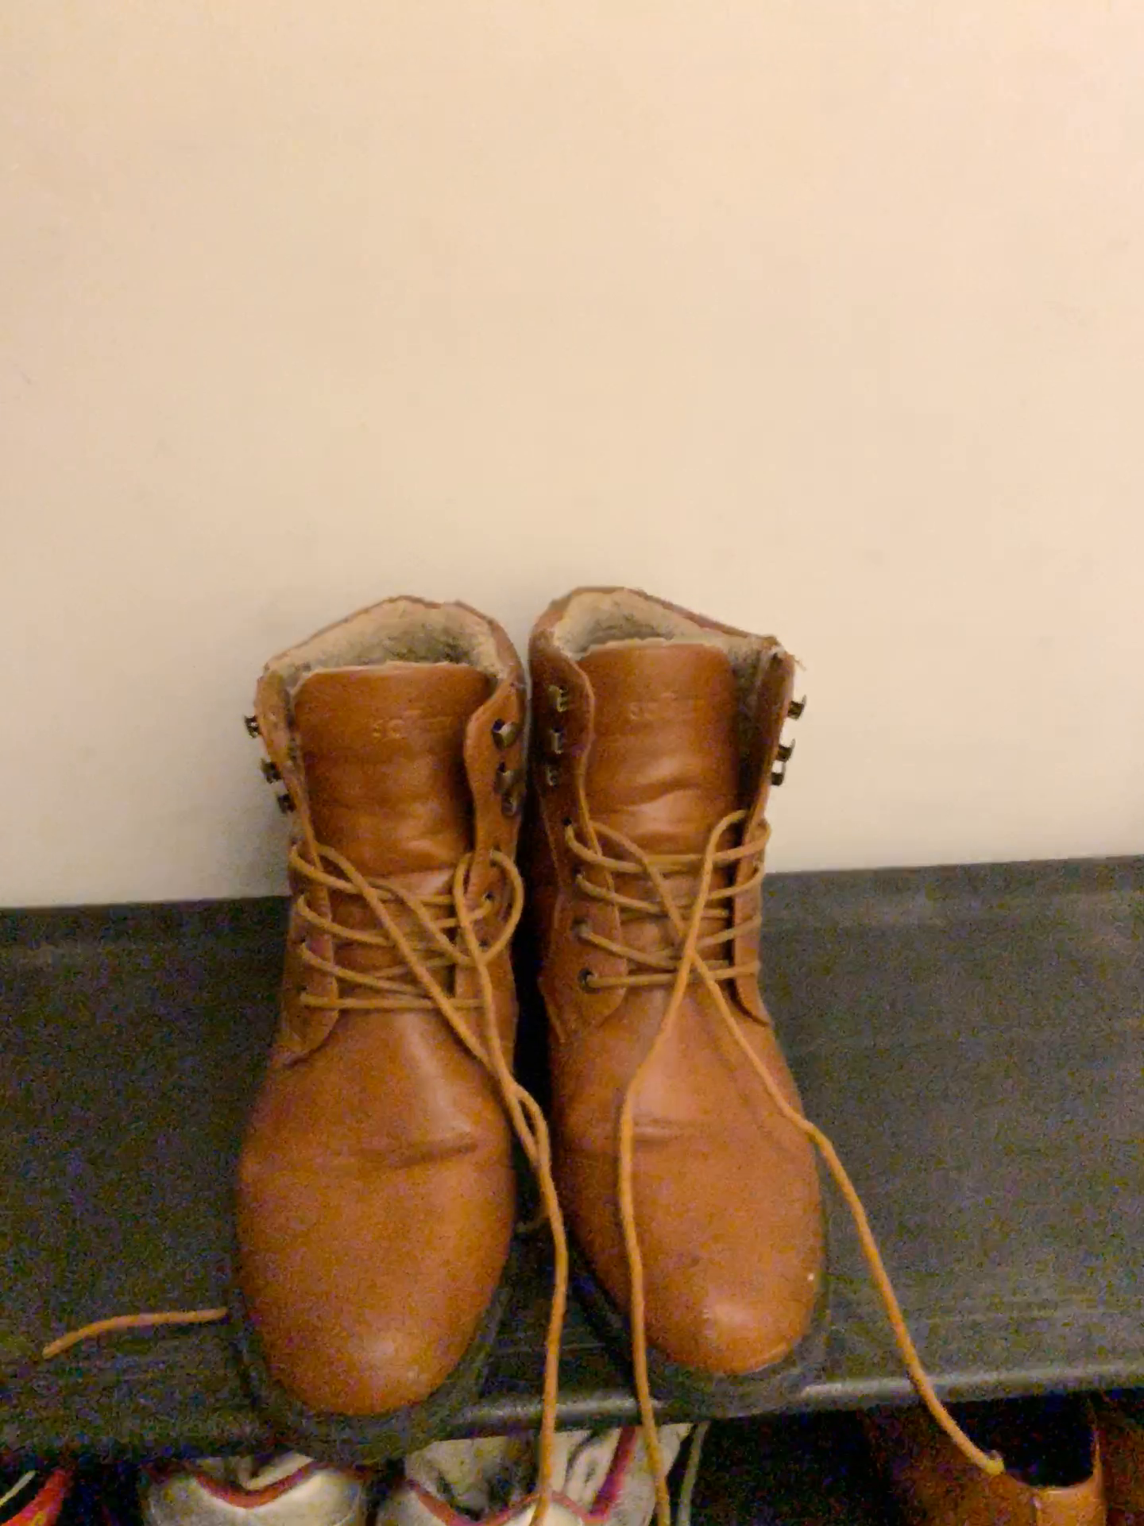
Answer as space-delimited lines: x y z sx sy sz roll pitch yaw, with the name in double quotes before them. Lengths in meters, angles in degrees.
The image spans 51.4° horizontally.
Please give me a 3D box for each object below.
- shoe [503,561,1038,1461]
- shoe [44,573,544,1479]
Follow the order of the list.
"shoe" 0.042 0.070 0.434 0.110 0.198 0.242 -4 33 -6
"shoe" -0.070 0.076 0.449 0.110 0.198 0.273 0 33 0
